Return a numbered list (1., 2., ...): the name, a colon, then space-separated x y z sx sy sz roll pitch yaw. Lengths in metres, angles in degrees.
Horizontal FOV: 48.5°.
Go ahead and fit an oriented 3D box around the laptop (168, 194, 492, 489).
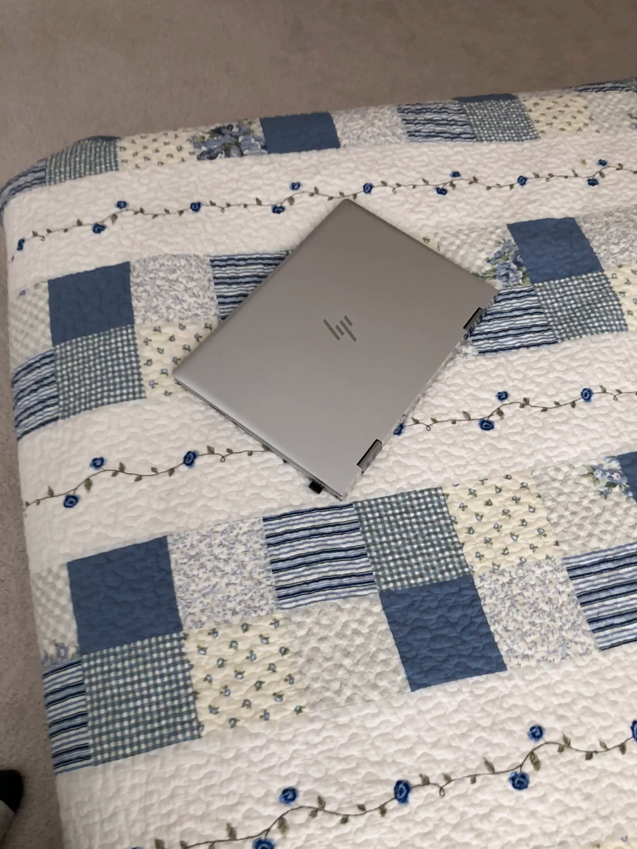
1. laptop: 0.030 -0.131 0.938 0.256 0.011 0.386 35 64 8
